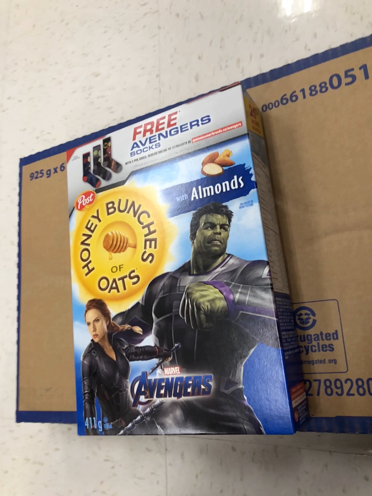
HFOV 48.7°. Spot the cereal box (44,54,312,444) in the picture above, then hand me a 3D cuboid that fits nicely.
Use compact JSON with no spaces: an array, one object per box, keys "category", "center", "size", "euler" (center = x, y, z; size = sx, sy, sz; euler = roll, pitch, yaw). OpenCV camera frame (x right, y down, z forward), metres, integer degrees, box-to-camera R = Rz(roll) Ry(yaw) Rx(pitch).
[{"category":"cereal box","center":[-0.022,0.011,0.370],"size":[0.200,0.070,0.290],"euler":[-13,76,26]}]
